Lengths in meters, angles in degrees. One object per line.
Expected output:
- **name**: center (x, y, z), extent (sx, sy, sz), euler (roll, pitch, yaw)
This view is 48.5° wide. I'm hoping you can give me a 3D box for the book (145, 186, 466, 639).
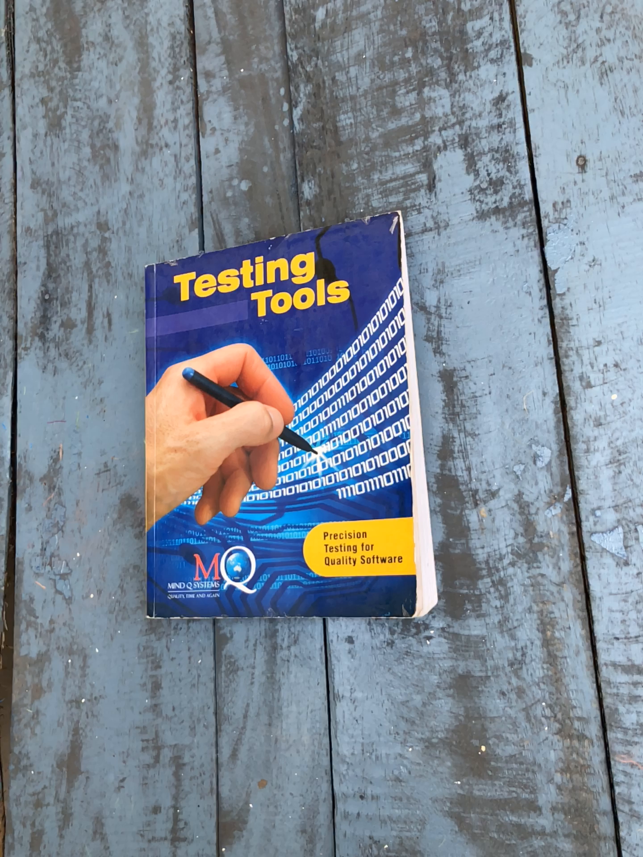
- **book**: center (-0.017, -0.002, 0.458), extent (0.191, 0.050, 0.260), euler (-7, 77, 22)
